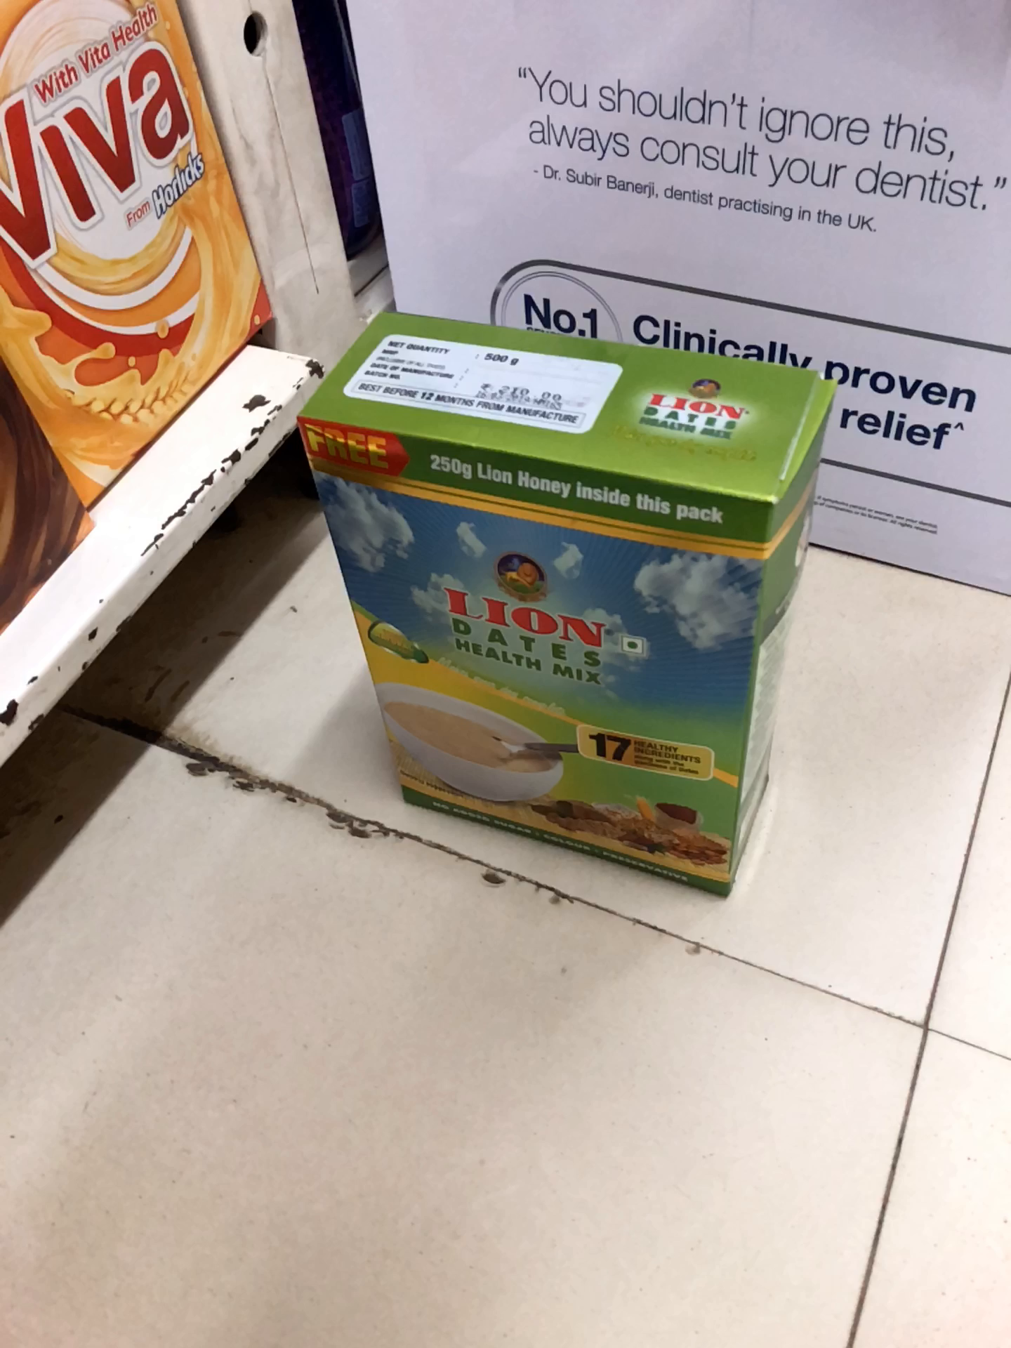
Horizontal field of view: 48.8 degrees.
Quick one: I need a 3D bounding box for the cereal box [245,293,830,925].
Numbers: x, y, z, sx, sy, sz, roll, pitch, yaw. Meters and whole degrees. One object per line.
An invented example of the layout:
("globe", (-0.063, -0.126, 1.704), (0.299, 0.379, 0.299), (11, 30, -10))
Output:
("cereal box", (0.016, -0.015, 0.363), (0.140, 0.179, 0.070), (14, 51, 19))
